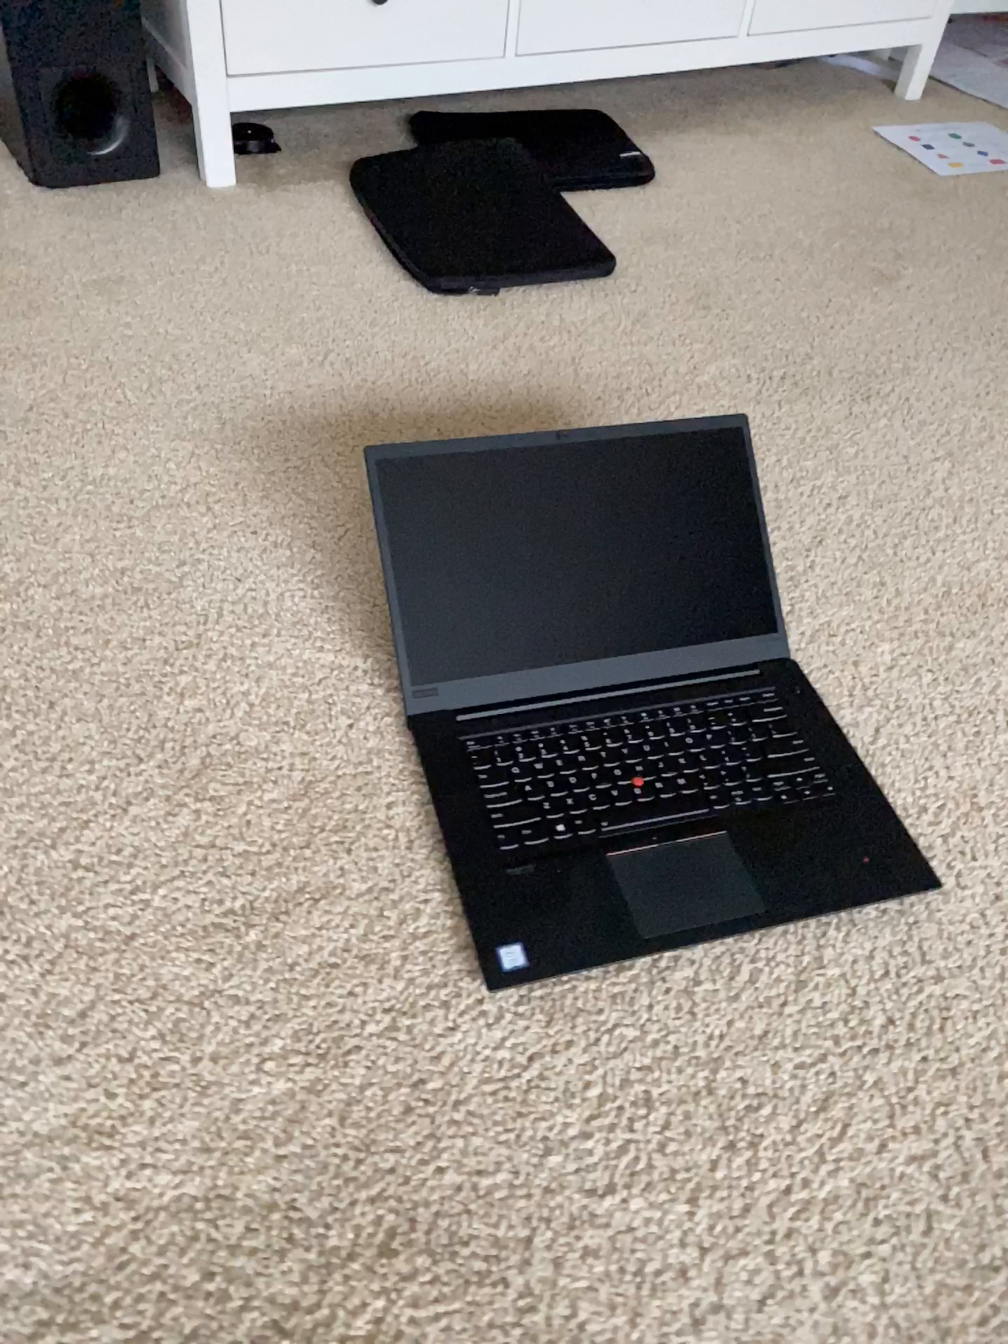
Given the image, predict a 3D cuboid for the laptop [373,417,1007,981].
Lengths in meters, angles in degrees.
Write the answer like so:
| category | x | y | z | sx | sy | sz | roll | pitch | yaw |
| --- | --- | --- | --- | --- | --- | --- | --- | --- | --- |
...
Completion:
| category | x | y | z | sx | sy | sz | roll | pitch | yaw |
| --- | --- | --- | --- | --- | --- | --- | --- | --- | --- |
| laptop | 0.113 | -0.015 | 0.839 | 0.360 | 0.141 | 0.434 | -8 | 48 | -15 |
